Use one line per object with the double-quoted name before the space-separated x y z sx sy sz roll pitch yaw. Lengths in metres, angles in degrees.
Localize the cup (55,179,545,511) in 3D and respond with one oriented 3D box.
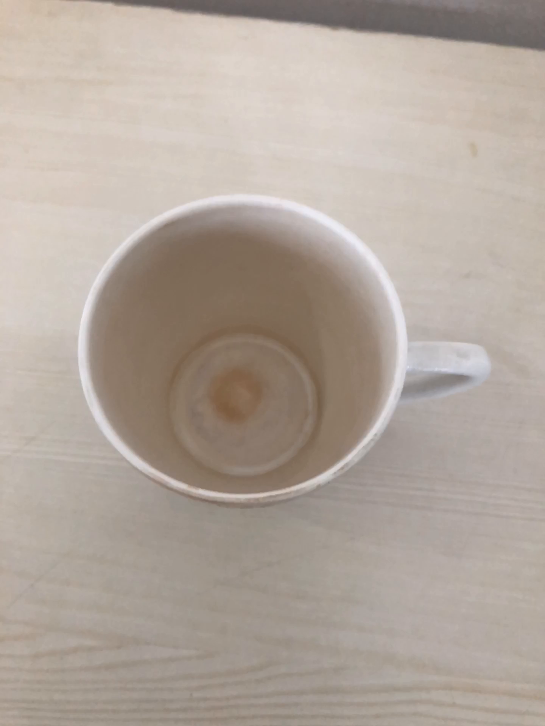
"cup" 0.010 0.002 0.169 0.110 0.070 0.070 1 72 -3
